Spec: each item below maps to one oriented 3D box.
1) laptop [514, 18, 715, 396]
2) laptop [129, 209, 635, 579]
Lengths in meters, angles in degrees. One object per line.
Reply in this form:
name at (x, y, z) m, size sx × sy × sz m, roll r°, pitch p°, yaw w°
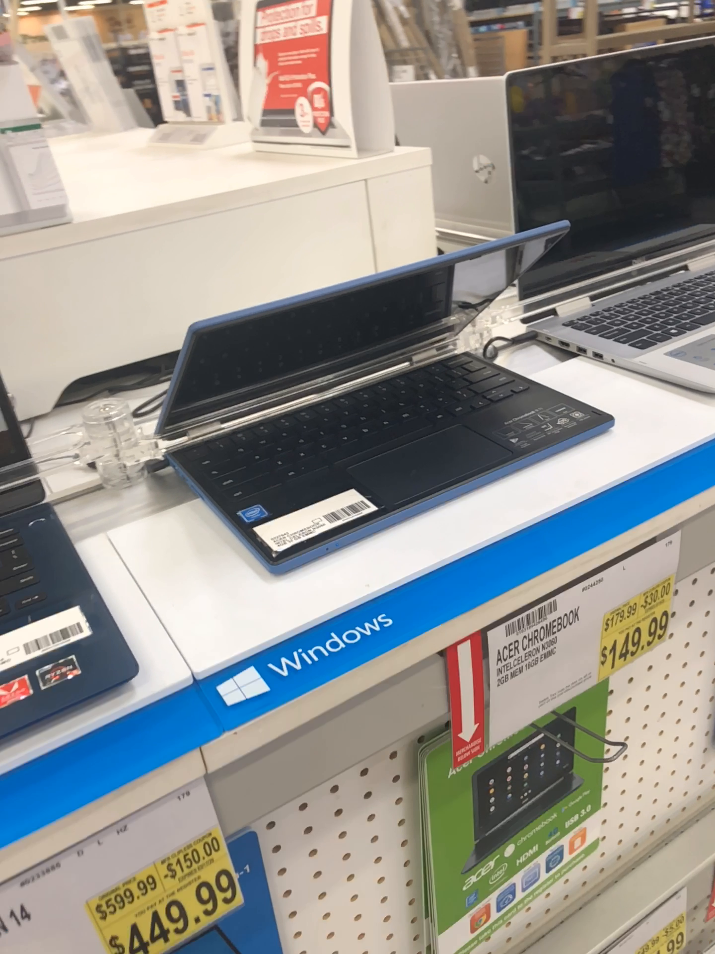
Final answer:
laptop at (0.363, -0.262, 0.703) m, size 0.355 × 0.216 × 0.247 m, roll -21°, pitch 33°, yaw -24°
laptop at (0.021, -0.081, 0.546) m, size 0.280 × 0.128 × 0.184 m, roll -22°, pitch 33°, yaw -26°
